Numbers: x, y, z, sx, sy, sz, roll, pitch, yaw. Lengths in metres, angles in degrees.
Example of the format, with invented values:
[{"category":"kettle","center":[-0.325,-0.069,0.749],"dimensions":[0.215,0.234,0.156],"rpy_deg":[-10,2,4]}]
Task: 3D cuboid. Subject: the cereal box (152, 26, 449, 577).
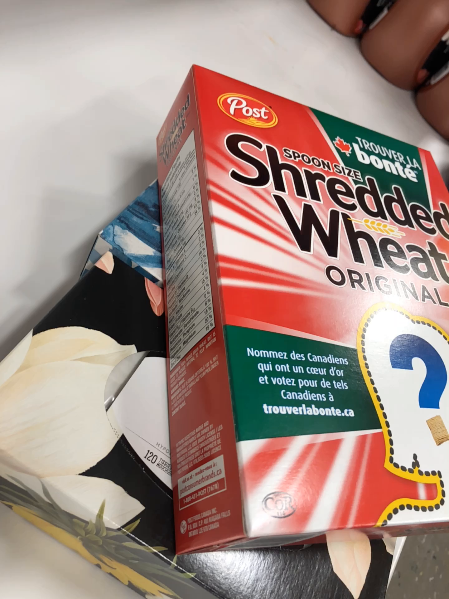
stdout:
[{"category":"cereal box","center":[0.081,-0.010,0.292],"dimensions":[0.231,0.060,0.280],"rpy_deg":[9,55,-24]}]
